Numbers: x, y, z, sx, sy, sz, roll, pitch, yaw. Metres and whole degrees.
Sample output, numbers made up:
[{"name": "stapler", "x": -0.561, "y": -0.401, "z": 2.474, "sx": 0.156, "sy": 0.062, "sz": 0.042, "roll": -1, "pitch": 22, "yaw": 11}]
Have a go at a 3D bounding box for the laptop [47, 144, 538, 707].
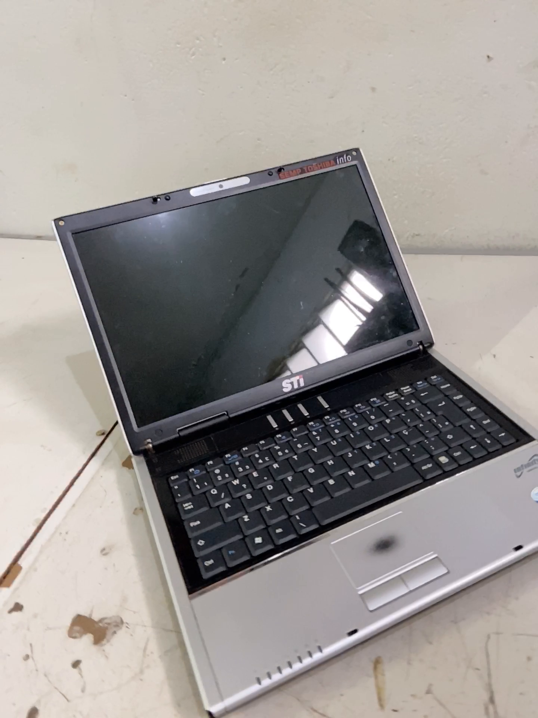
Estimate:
[{"name": "laptop", "x": 0.025, "y": -0.014, "z": 0.466, "sx": 0.325, "sy": 0.167, "sz": 0.388, "roll": -18, "pitch": 39, "yaw": -15}]
